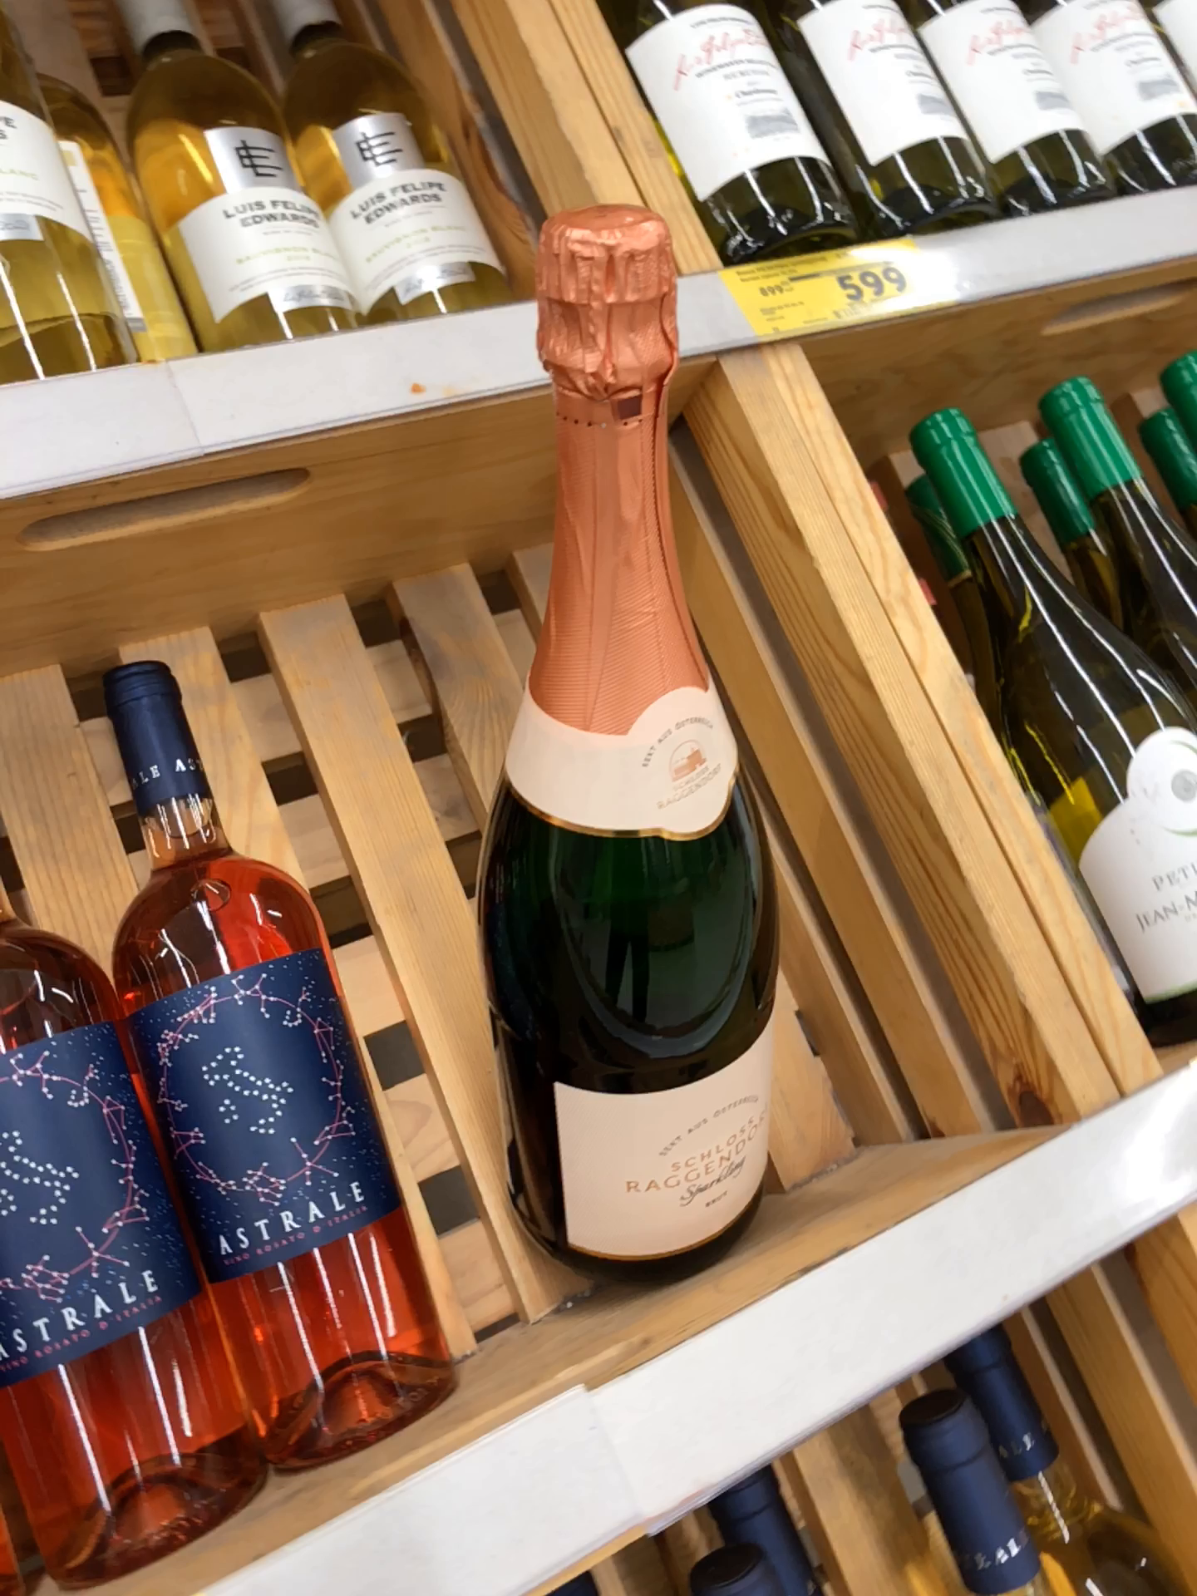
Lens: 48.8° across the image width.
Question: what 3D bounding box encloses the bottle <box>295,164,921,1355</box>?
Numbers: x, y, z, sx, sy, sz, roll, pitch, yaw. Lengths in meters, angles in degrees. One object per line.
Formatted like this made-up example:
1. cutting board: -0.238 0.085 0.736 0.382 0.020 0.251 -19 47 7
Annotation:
1. bottle: 0.005 0.000 0.433 0.120 0.358 0.110 -1 32 1
